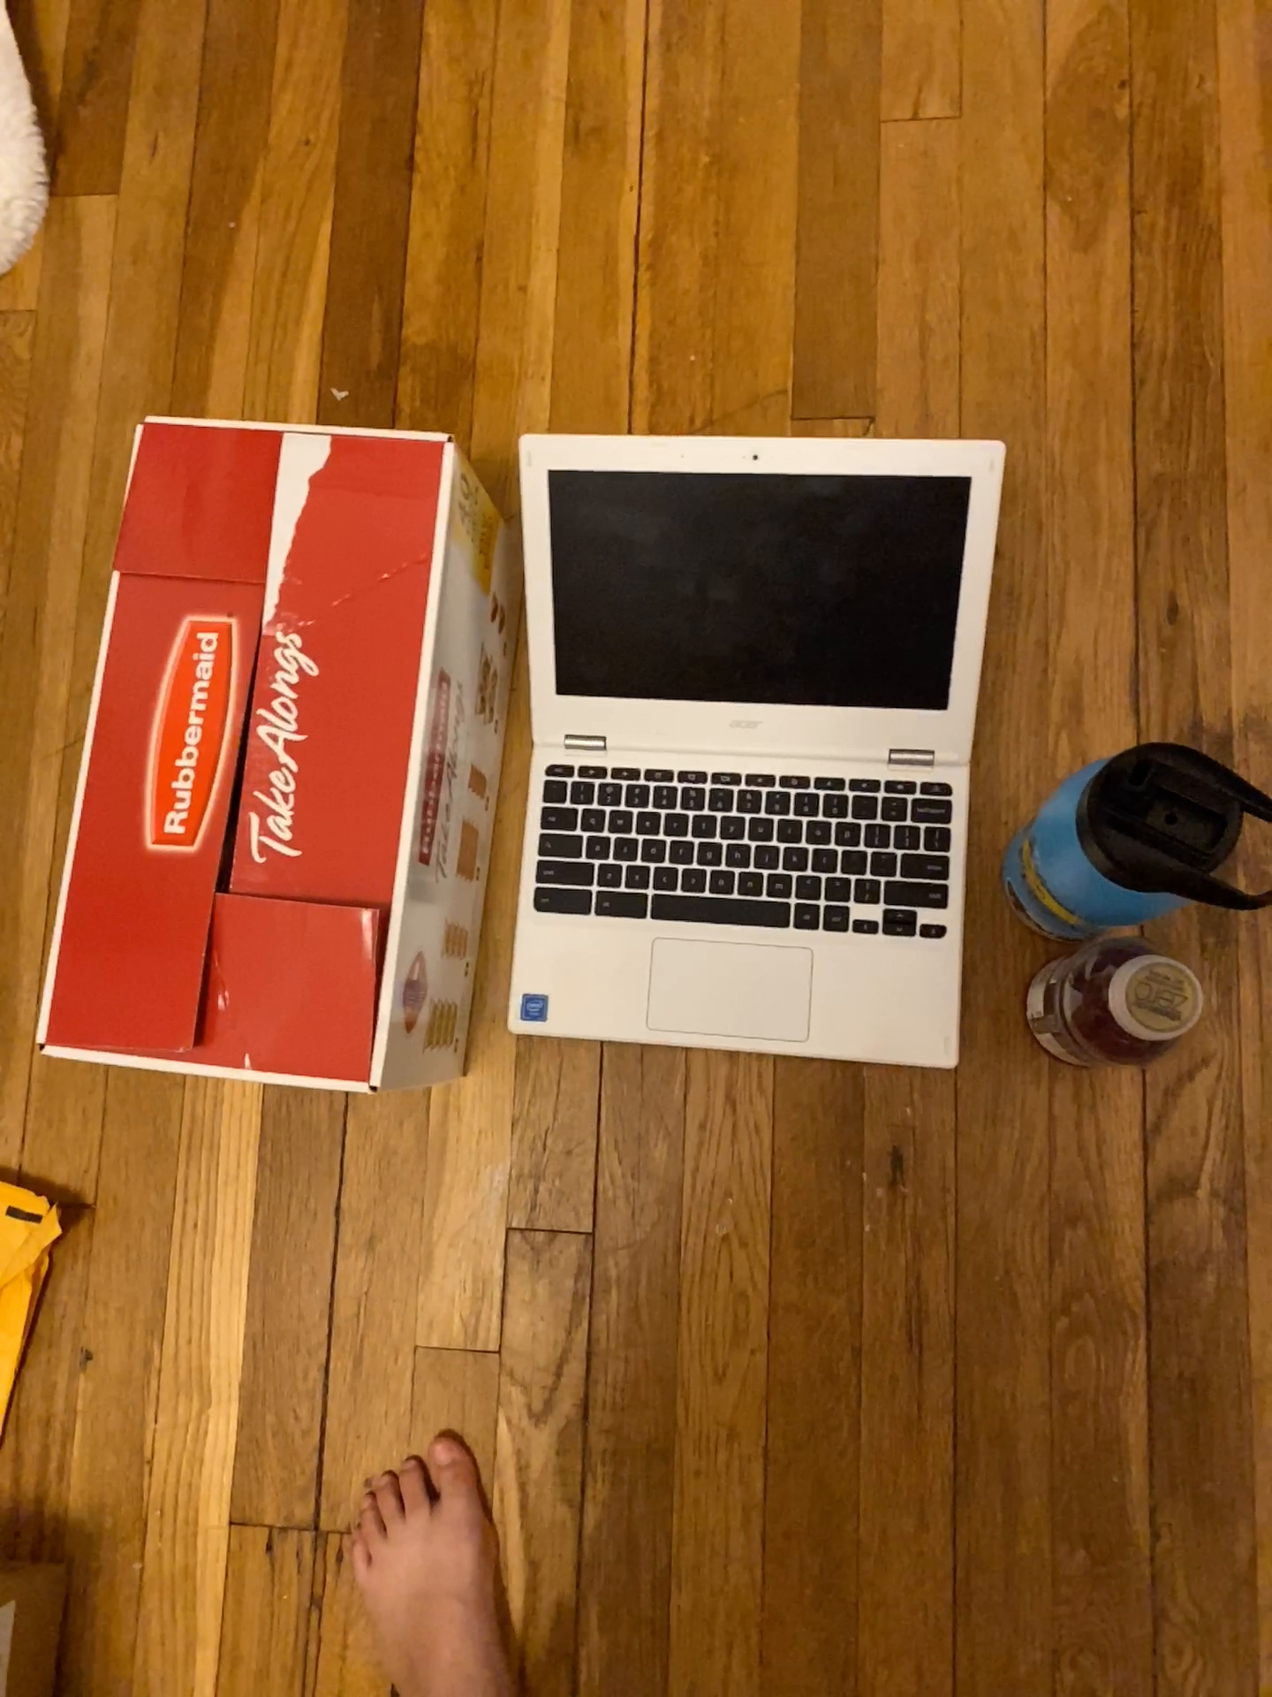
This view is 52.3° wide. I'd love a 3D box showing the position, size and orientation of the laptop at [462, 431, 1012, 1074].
[{"bbox_3d":[0.065,-0.058,0.797,0.289,0.110,0.364,3,83,10],"label":"laptop"}]
